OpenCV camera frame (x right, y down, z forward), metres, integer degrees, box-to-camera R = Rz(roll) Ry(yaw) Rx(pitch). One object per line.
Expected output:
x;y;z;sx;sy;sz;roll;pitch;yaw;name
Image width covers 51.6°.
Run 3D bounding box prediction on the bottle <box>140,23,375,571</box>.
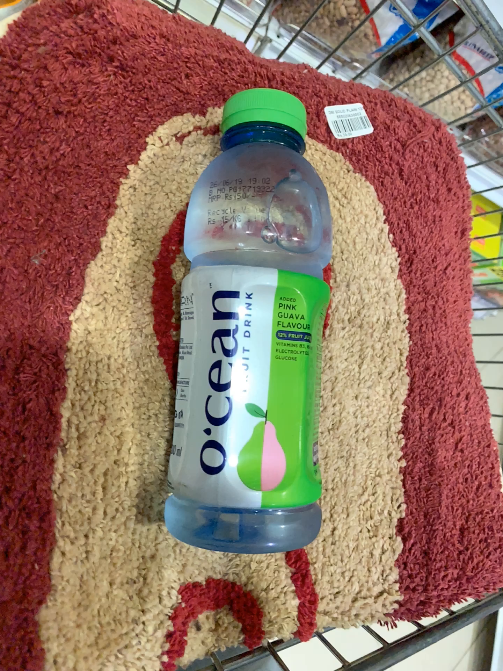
0.001;-0.014;0.238;0.080;0.070;0.210;4;85;-6;bottle
